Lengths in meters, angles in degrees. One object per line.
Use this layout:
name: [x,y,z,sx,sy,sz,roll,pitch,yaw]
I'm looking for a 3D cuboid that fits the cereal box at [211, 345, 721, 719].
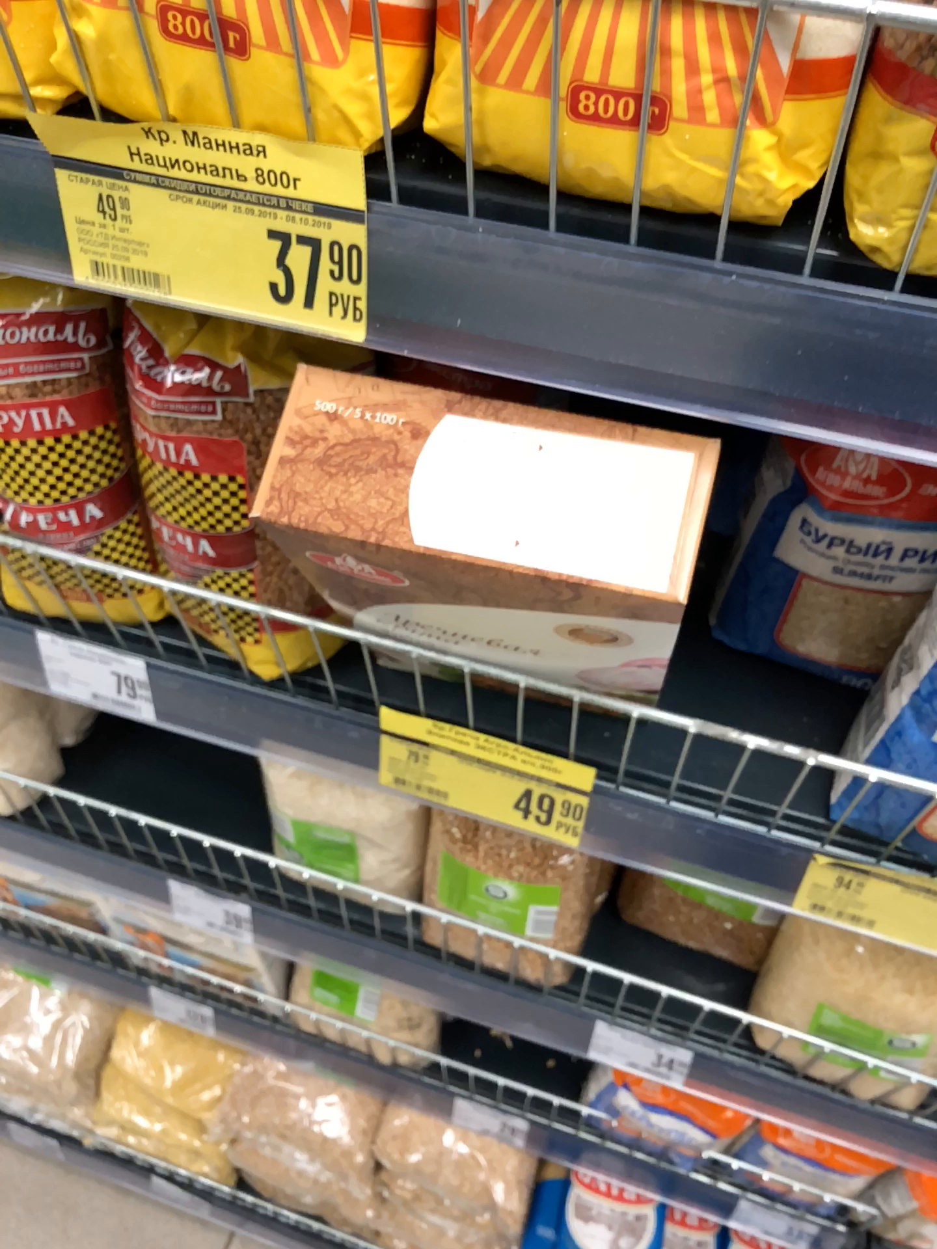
cereal box: [0.009,-0.021,0.396,0.140,0.199,0.050,12,76,10]
